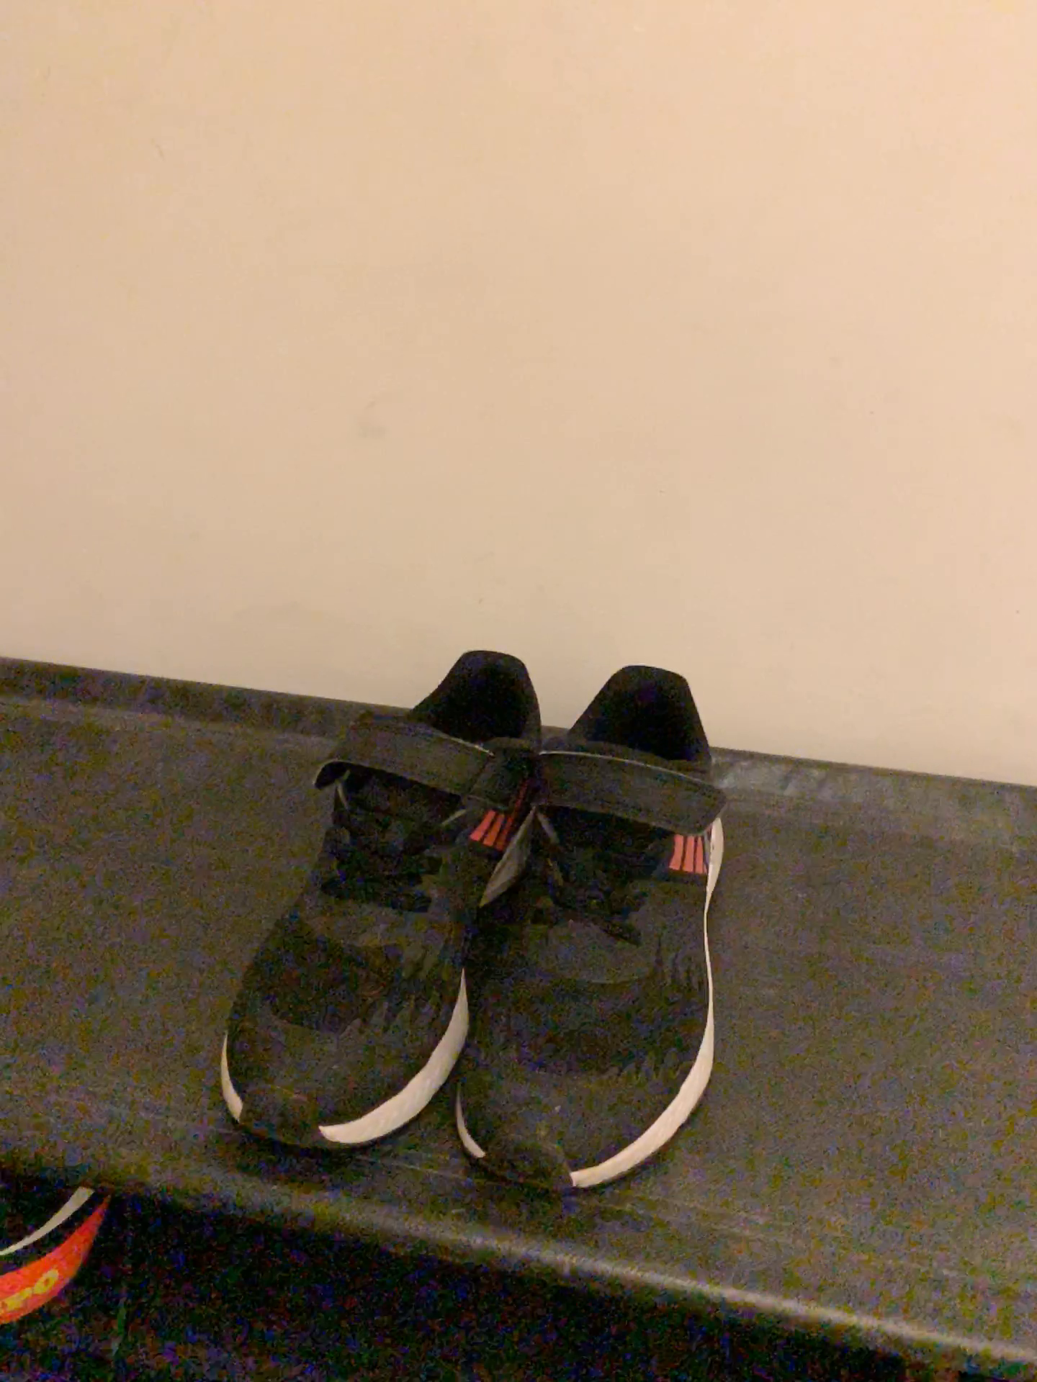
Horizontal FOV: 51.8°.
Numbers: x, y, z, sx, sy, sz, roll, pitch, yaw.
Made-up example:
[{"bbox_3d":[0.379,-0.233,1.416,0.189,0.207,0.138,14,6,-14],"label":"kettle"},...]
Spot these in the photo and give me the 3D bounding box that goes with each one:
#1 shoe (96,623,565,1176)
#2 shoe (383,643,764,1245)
[{"bbox_3d":[-0.054,0.062,0.411,0.090,0.079,0.202,11,33,14],"label":"shoe"},{"bbox_3d":[0.031,0.071,0.386,0.090,0.079,0.202,9,33,12],"label":"shoe"}]
